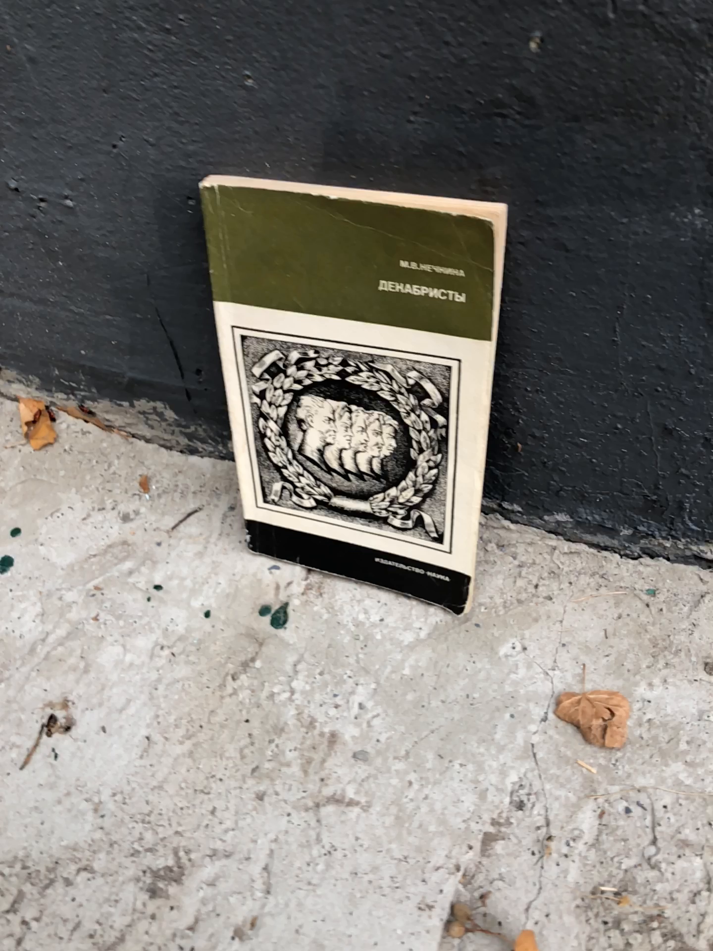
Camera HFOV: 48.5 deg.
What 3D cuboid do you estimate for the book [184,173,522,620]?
[{"bbox_3d":[-0.004,-0.027,0.323,0.120,0.169,0.020,13,34,19],"label":"book"}]
